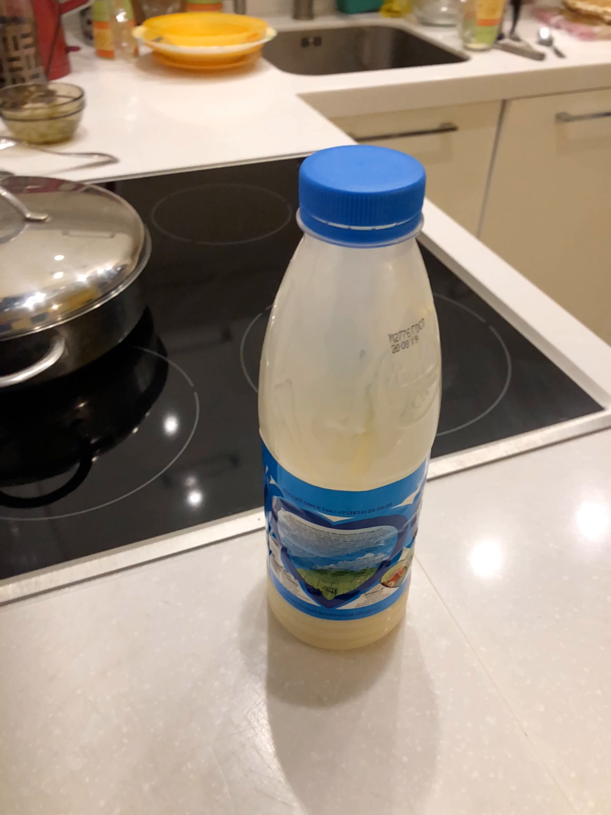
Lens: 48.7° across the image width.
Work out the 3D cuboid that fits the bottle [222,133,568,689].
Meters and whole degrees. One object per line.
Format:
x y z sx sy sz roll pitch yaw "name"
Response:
0.022 0.013 0.279 0.080 0.213 0.080 1 40 -1 "bottle"
